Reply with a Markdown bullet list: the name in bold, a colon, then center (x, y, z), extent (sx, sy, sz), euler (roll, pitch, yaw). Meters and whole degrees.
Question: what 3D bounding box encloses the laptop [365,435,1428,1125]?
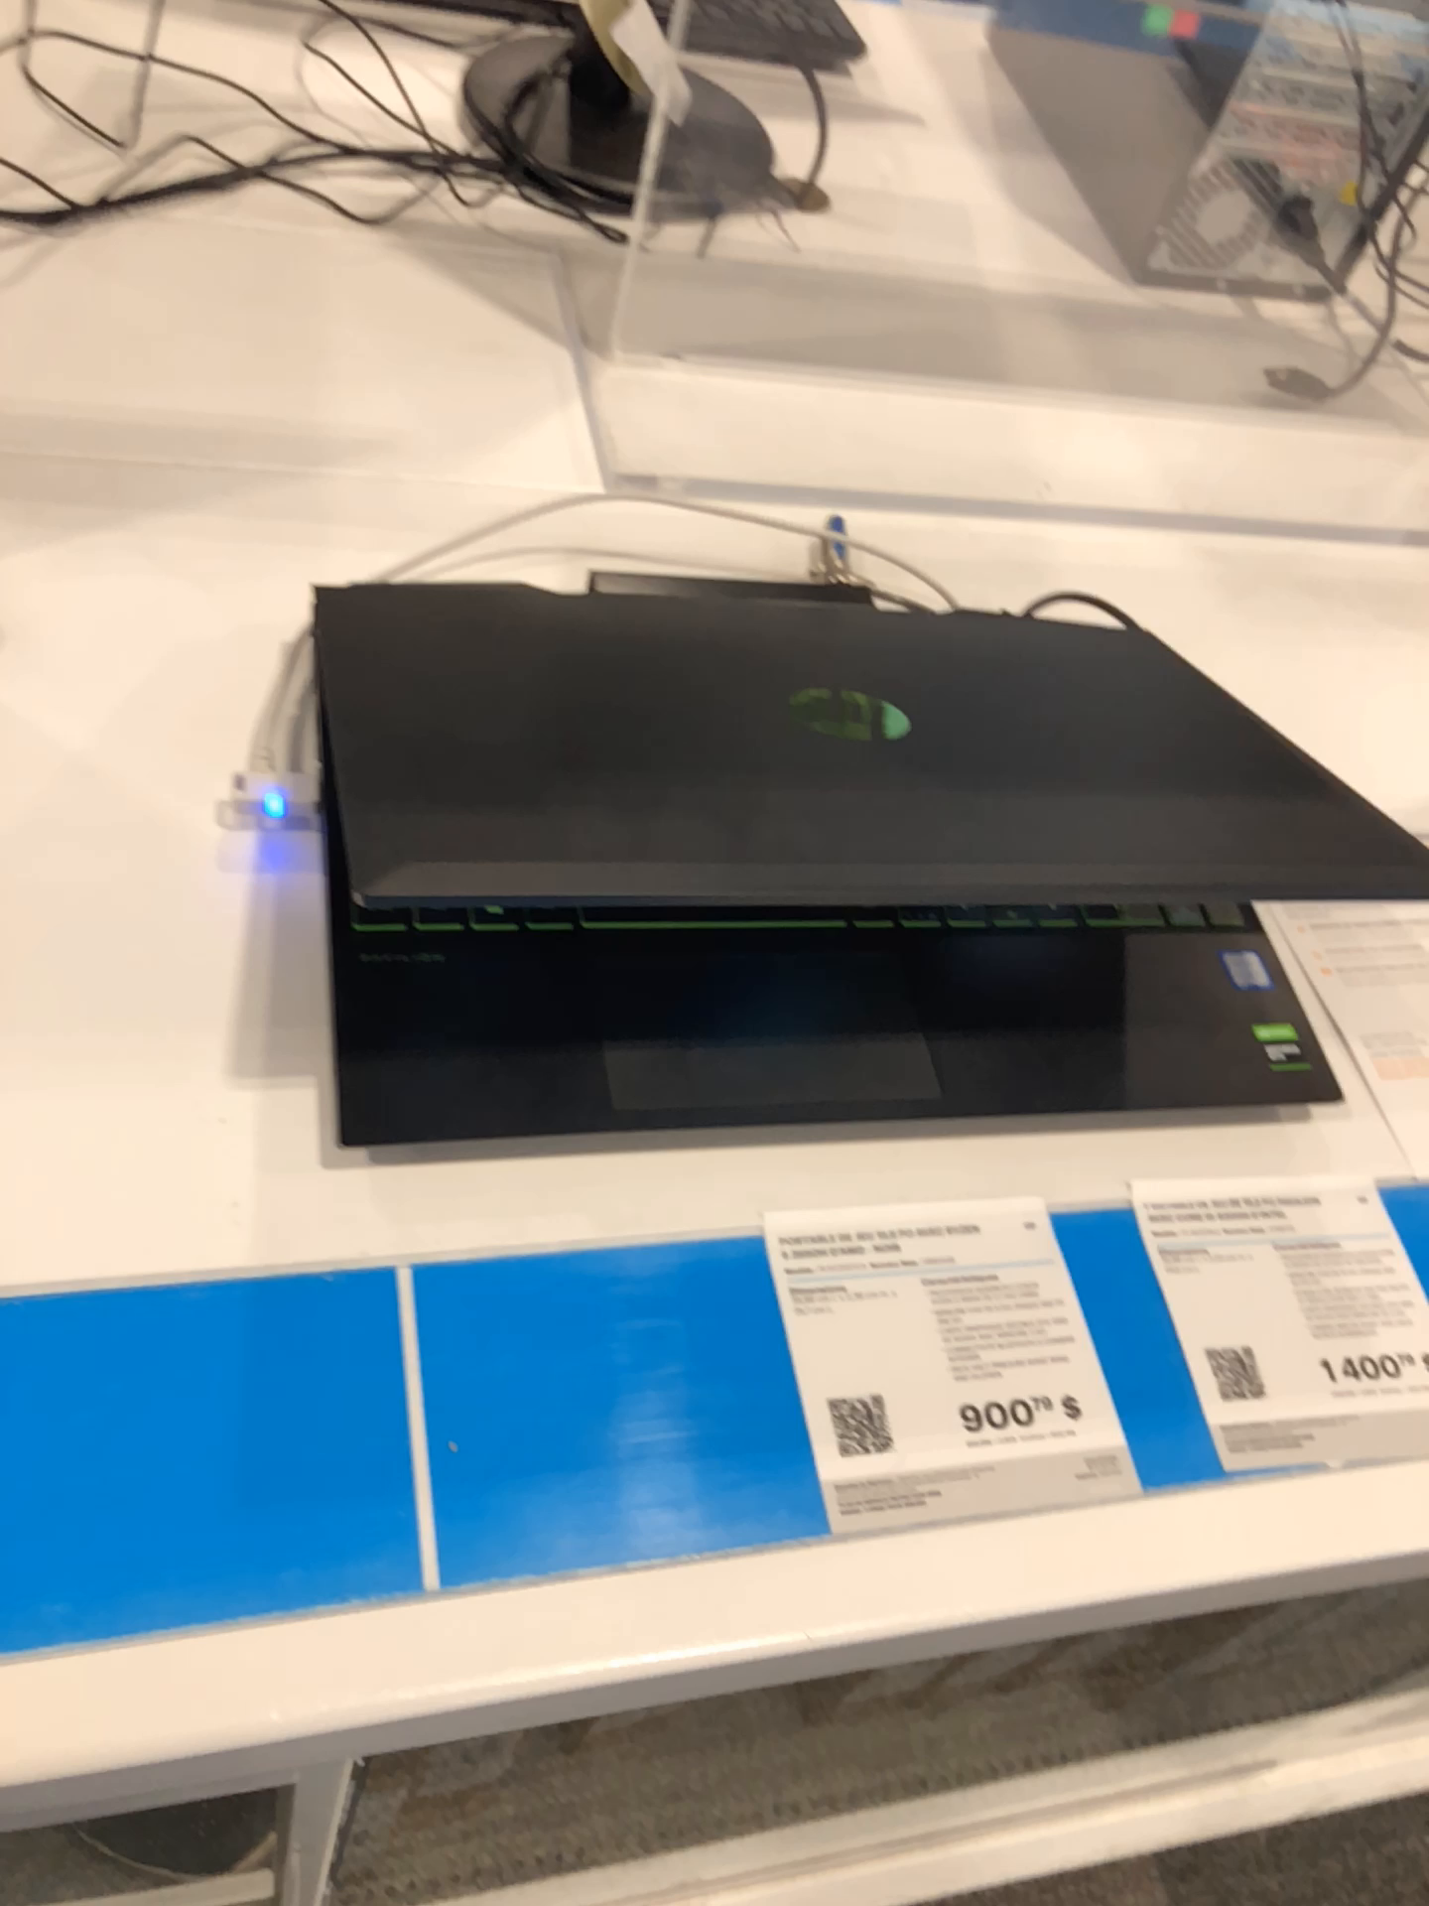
- **laptop**: center (0.057, -0.066, 0.558), extent (0.339, 0.064, 0.221), euler (-1, 58, -17)
